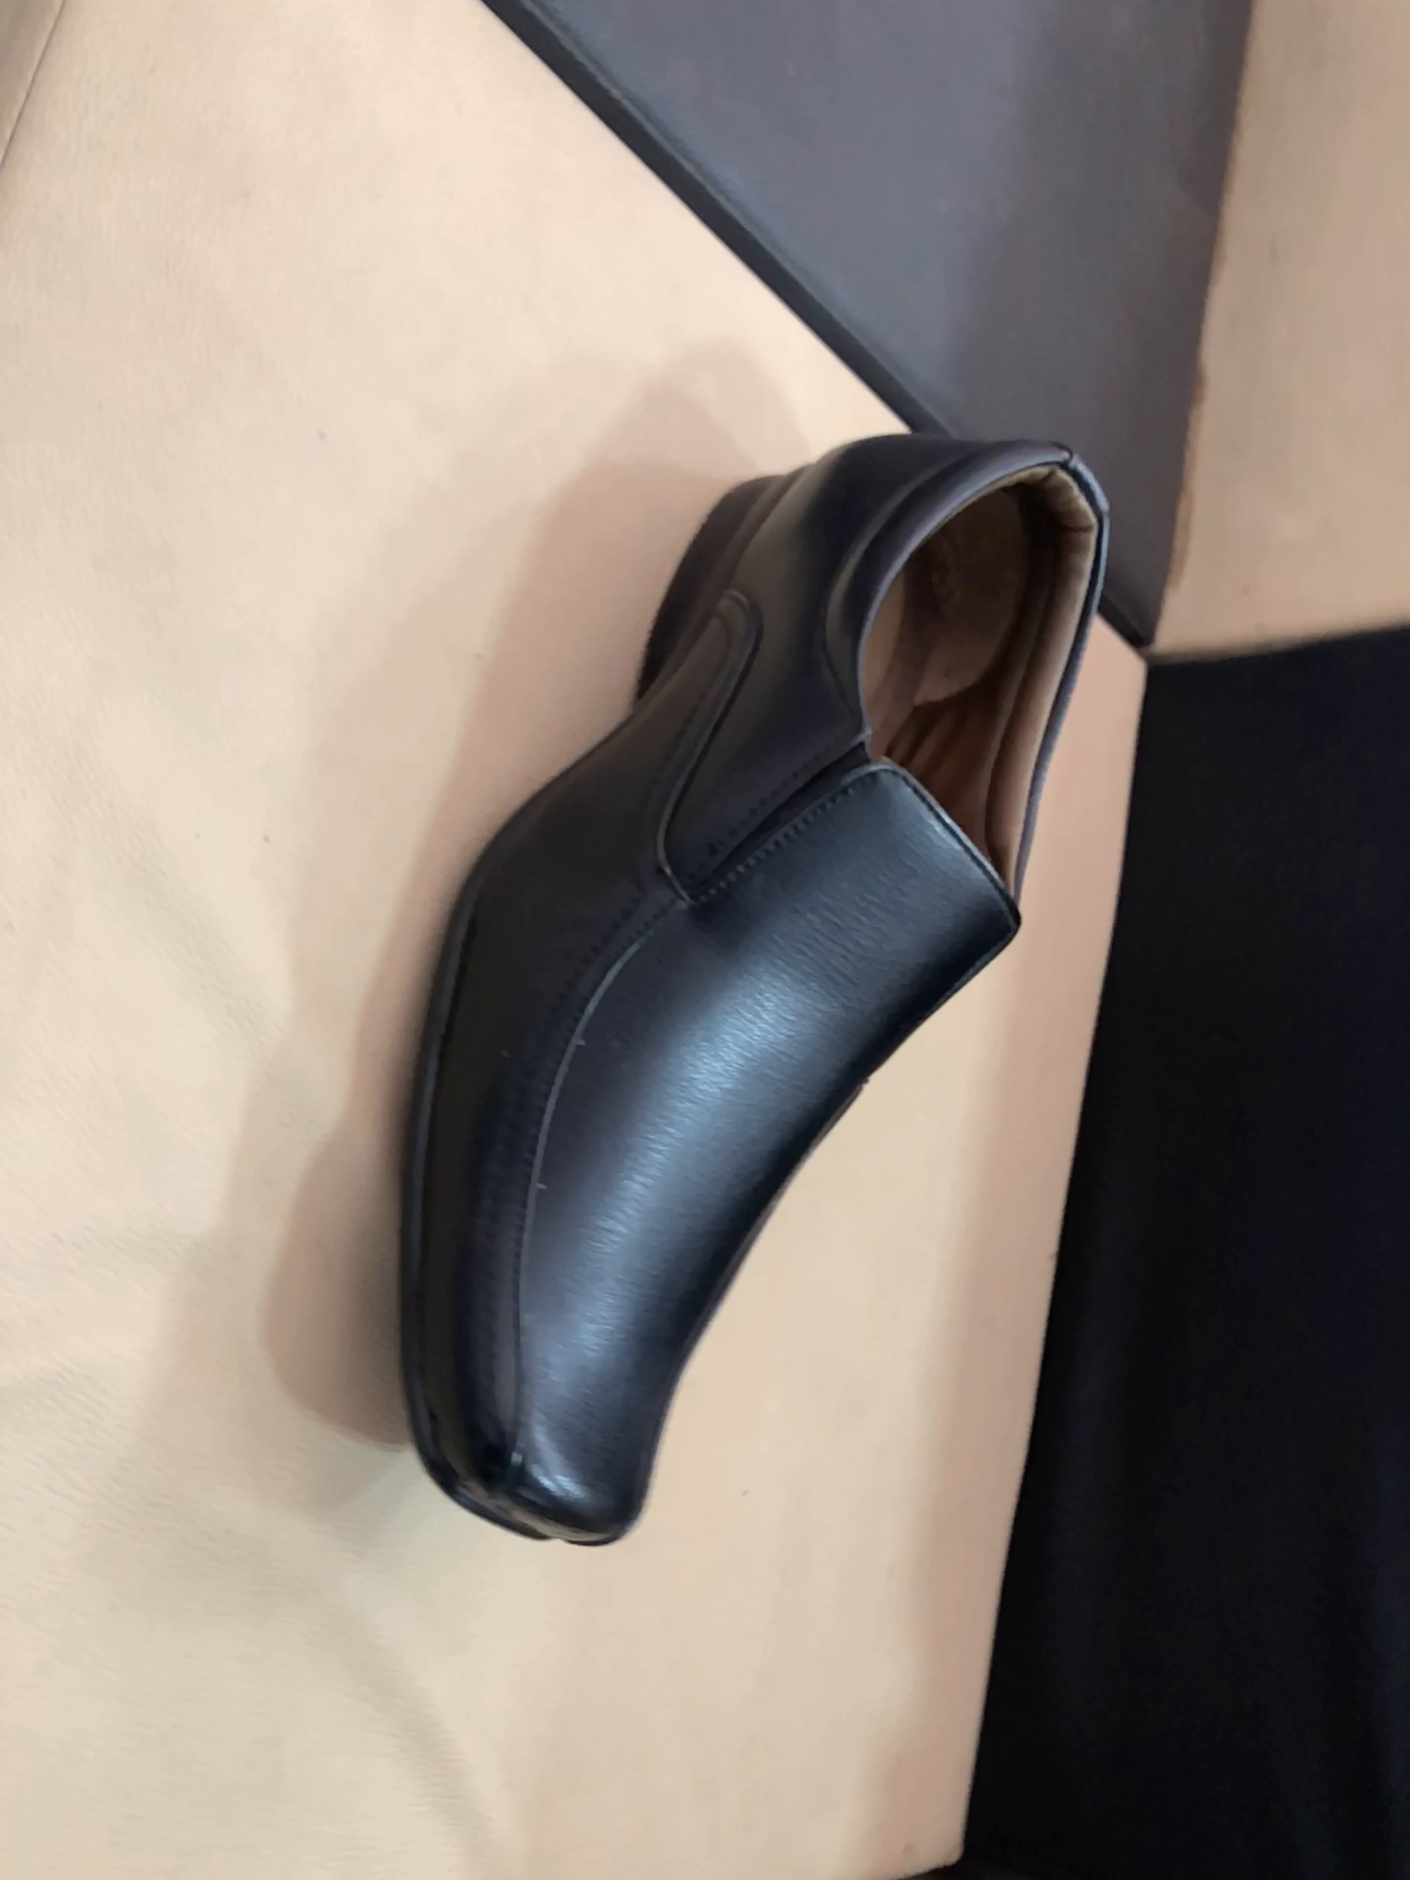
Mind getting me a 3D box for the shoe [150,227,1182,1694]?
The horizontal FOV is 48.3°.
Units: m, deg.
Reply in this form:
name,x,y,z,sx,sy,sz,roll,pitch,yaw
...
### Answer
name,x,y,z,sx,sy,sz,roll,pitch,yaw
shoe,0.010,-0.011,0.366,0.091,0.099,0.311,44,59,-40
